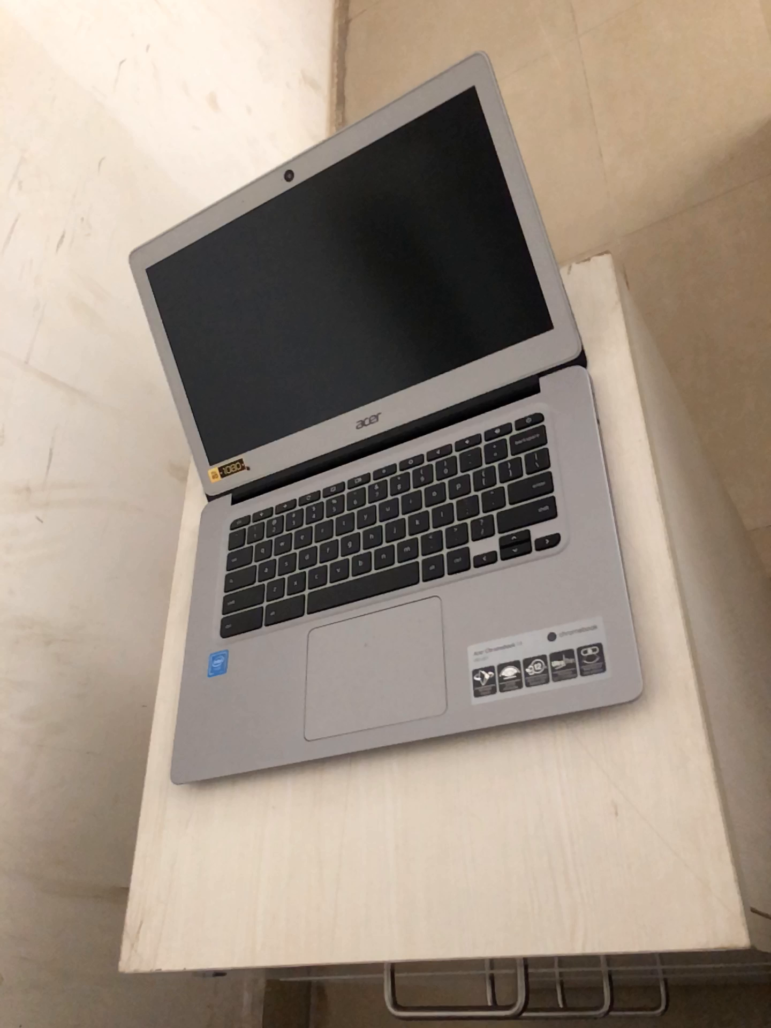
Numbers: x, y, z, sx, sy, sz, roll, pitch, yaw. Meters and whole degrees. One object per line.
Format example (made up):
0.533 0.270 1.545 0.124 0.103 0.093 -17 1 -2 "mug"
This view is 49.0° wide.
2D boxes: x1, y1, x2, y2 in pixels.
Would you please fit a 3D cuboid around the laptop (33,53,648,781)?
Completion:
-0.038 -0.060 0.581 0.332 0.126 0.409 -18 55 26 "laptop"
